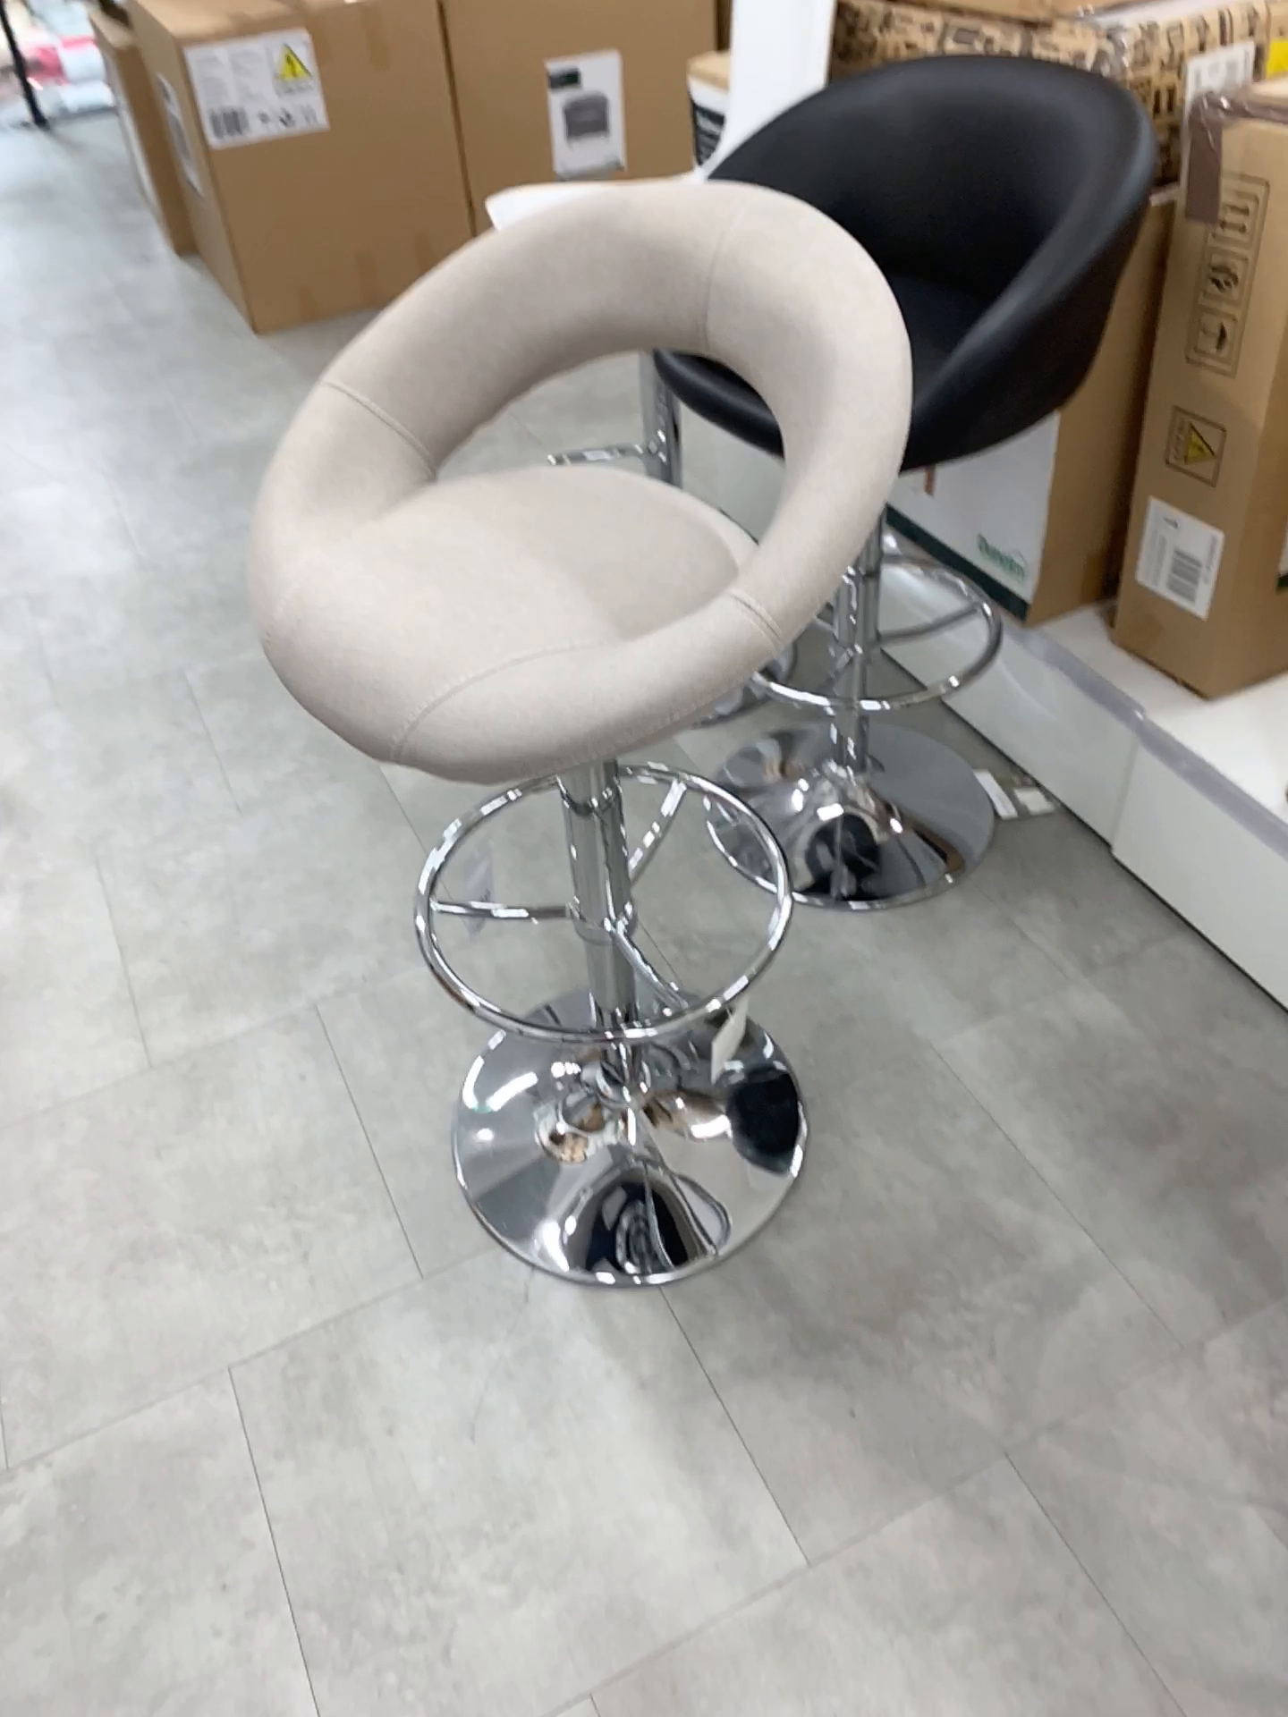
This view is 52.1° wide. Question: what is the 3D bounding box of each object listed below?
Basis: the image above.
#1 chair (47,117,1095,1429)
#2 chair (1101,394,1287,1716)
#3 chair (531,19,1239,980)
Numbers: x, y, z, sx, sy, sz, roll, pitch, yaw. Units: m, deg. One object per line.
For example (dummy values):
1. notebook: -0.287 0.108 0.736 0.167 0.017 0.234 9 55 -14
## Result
1. chair: -0.047 -0.054 1.229 0.484 0.962 0.570 -30 48 -24
2. chair: 0.755 0.256 0.881 0.543 0.863 0.521 -12 43 -7
3. chair: 0.255 -0.426 1.647 0.484 0.933 0.520 -27 47 -22
